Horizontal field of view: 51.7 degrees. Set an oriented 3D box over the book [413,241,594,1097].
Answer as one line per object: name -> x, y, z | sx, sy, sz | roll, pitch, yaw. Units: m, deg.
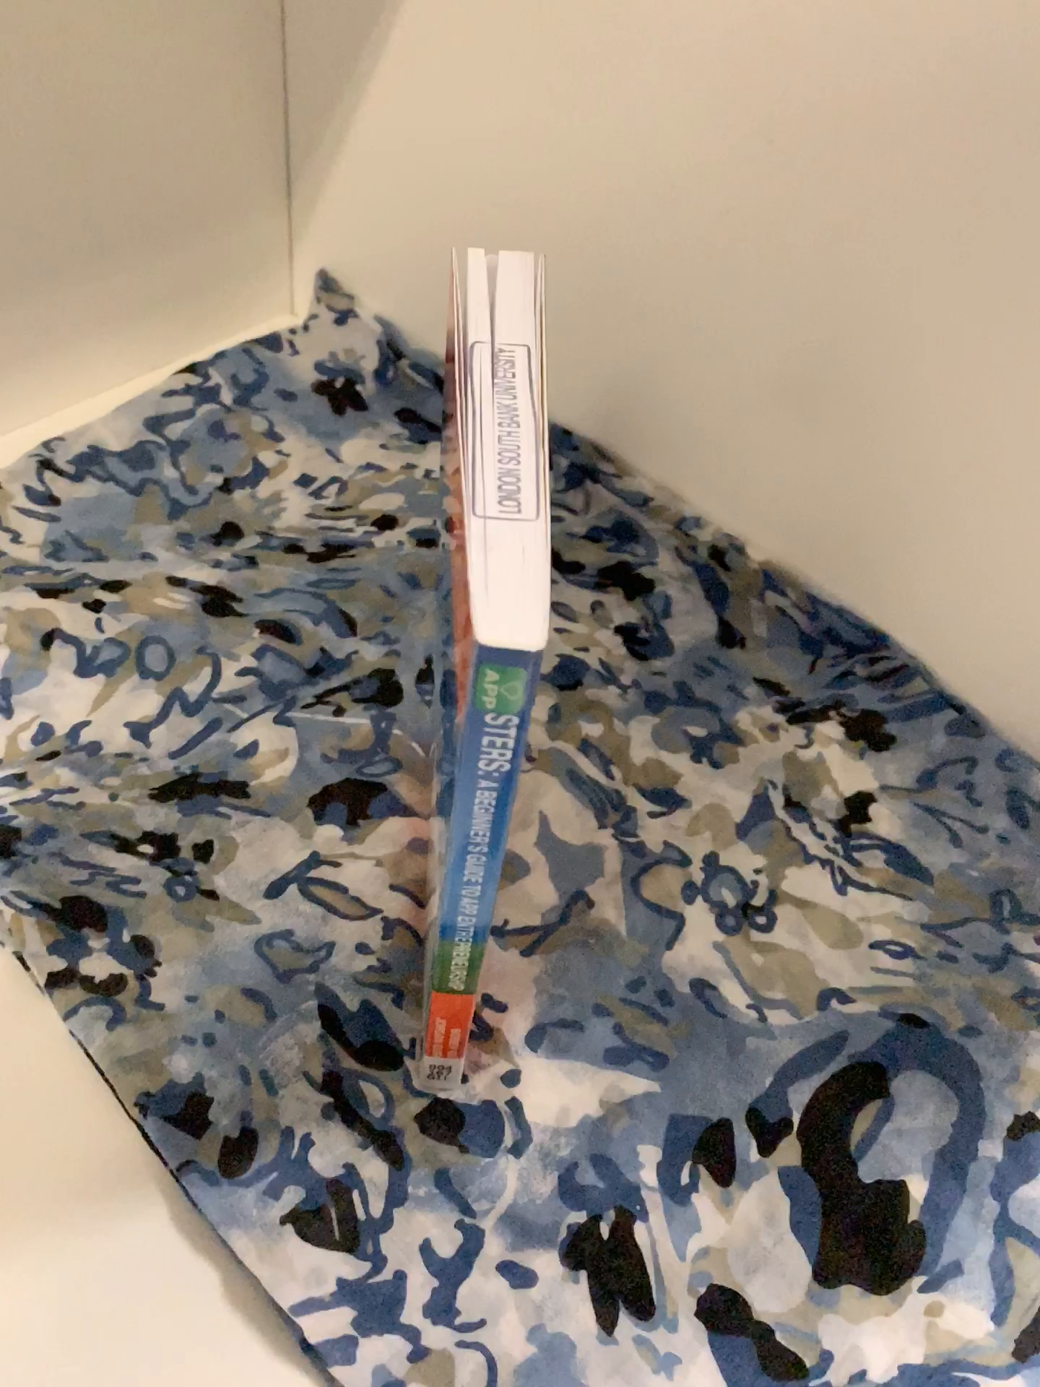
book -> -0.013, 0.006, 0.302 | 0.024, 0.203, 0.141 | 2, 49, -6
